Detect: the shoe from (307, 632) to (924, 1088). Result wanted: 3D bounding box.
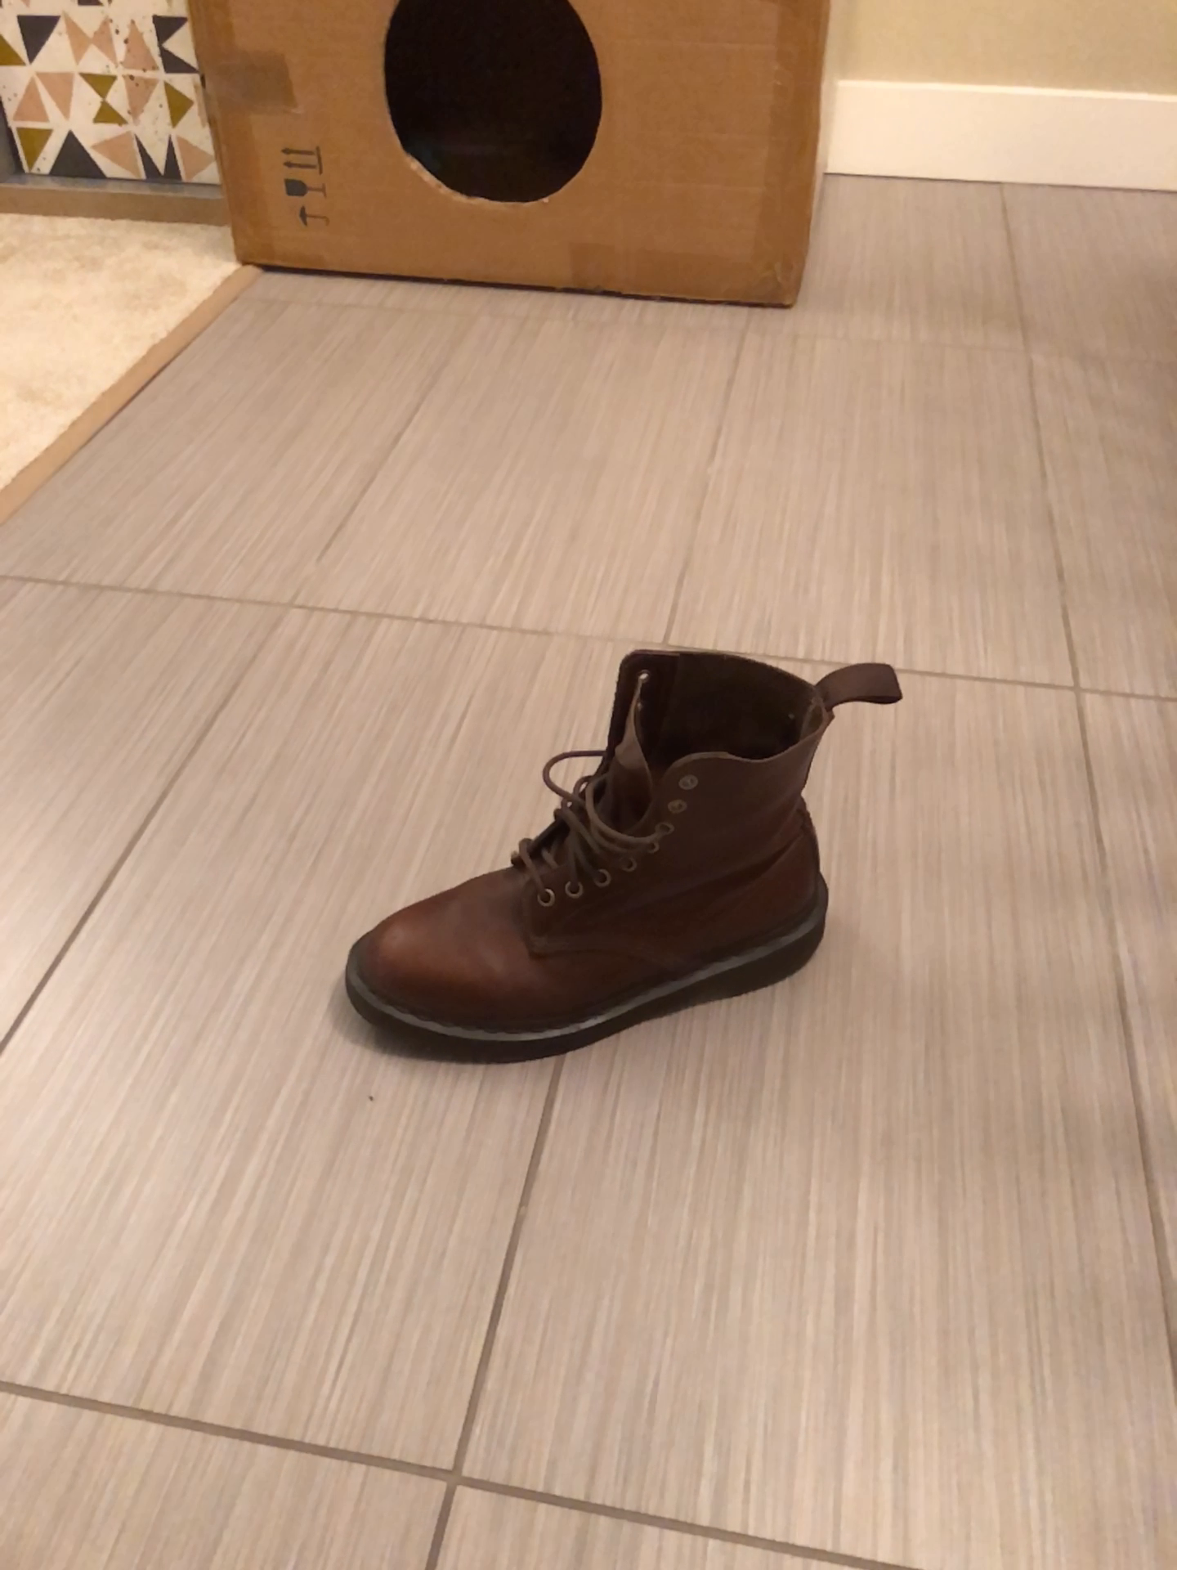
[{"bbox_3d":[0.007,0.039,0.681,0.282,0.179,0.116,-6,41,-7],"label":"shoe"}]
